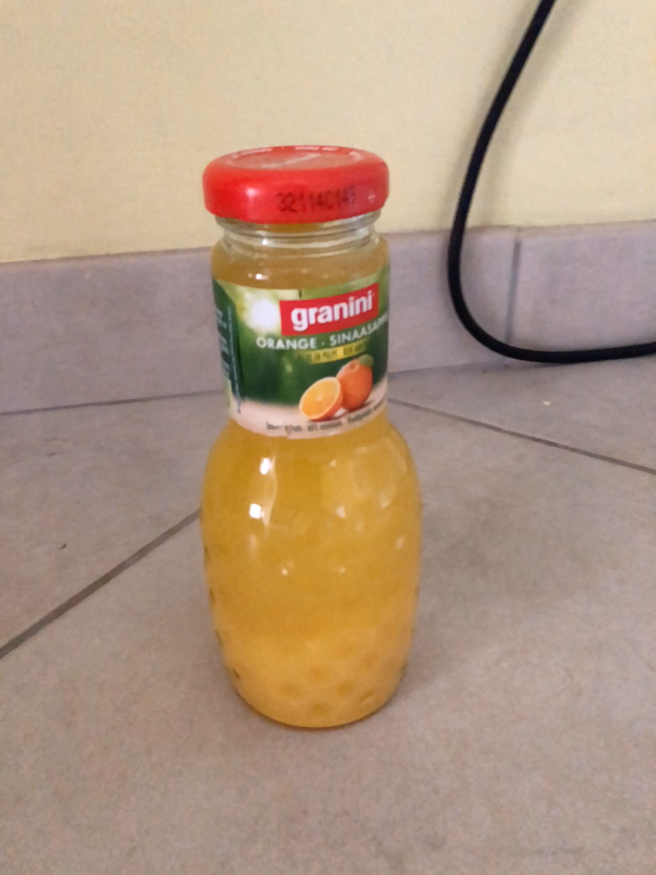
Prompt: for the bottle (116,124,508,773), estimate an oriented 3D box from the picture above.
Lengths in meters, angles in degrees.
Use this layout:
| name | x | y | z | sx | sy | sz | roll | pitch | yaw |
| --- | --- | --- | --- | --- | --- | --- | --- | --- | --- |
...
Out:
| name | x | y | z | sx | sy | sz | roll | pitch | yaw |
| --- | --- | --- | --- | --- | --- | --- | --- | --- | --- |
| bottle | -0.006 | 0.004 | 0.202 | 0.070 | 0.159 | 0.060 | -13 | 32 | -20 |
